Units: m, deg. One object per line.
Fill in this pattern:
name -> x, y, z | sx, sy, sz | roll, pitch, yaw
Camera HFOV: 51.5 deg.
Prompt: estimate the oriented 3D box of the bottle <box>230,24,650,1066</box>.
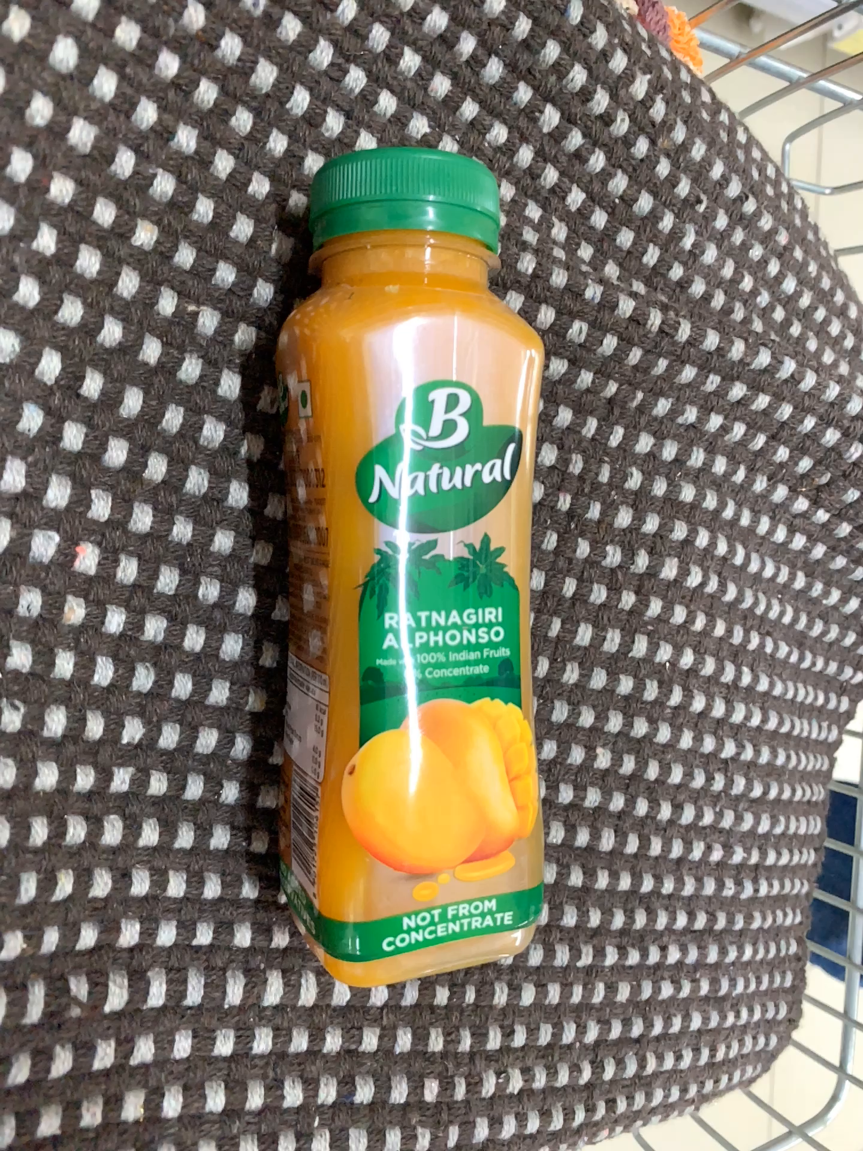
bottle -> -0.002, -0.003, 0.173 | 0.060, 0.050, 0.160 | -1, 97, -26
